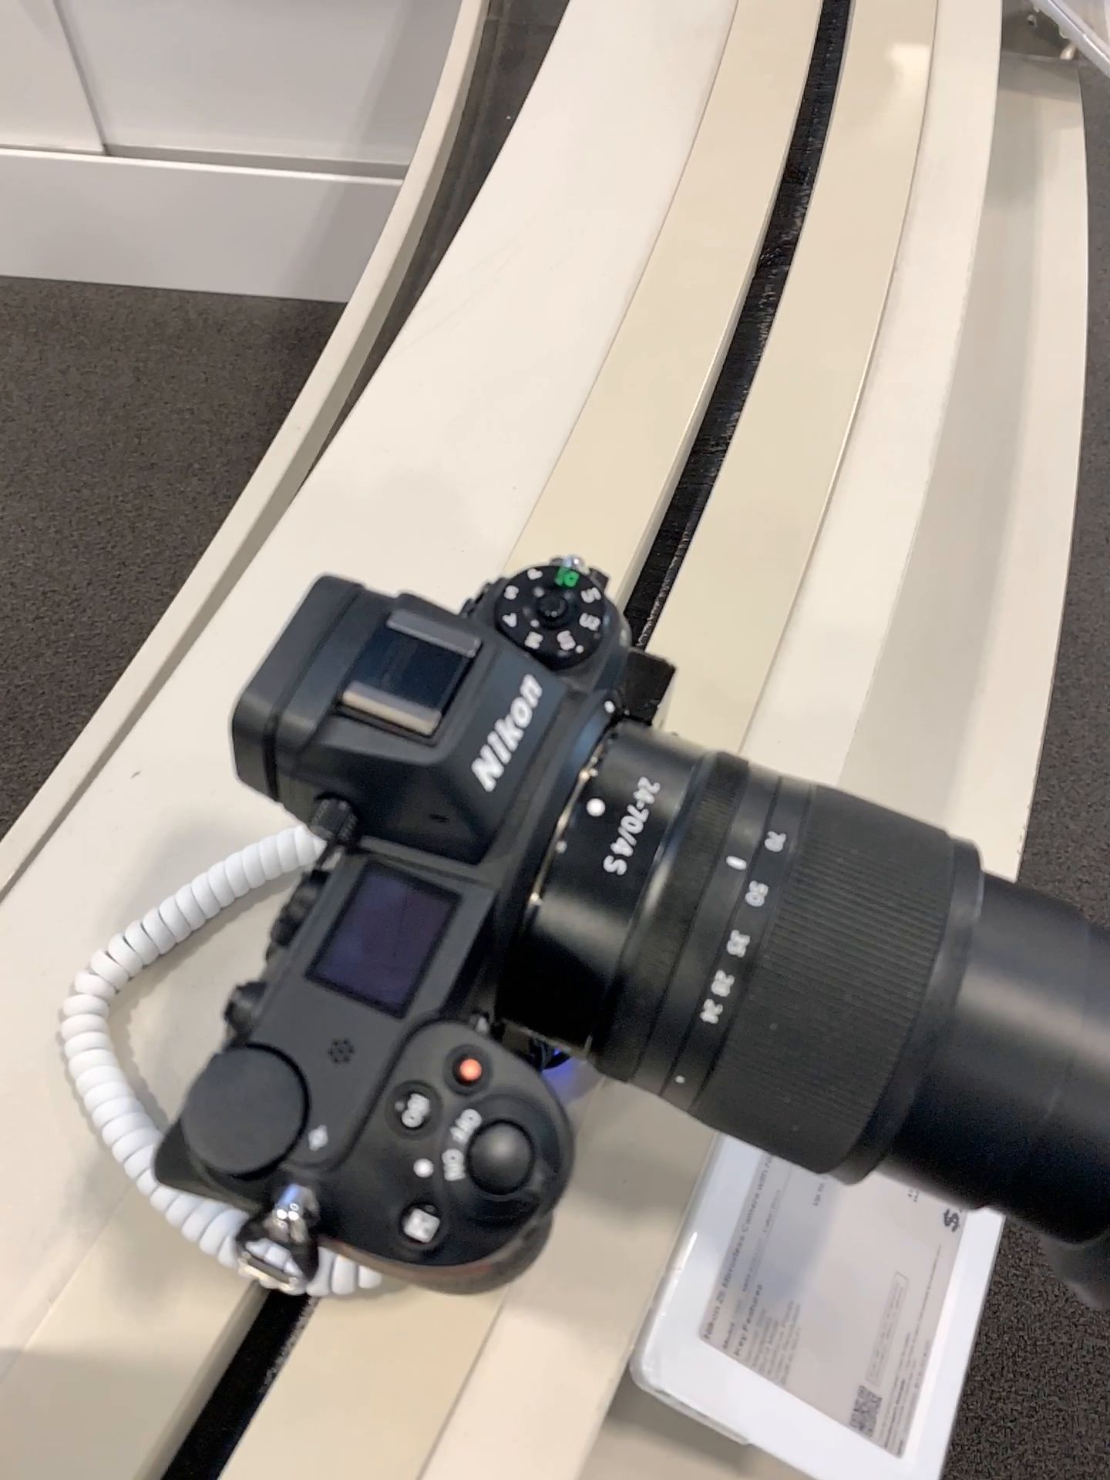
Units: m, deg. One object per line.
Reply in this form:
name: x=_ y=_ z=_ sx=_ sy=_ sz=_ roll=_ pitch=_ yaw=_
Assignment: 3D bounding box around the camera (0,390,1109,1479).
camera: x=0.026 y=0.048 z=0.220 sx=0.210 sy=0.100 sz=0.140 roll=21 pitch=63 yaw=10
